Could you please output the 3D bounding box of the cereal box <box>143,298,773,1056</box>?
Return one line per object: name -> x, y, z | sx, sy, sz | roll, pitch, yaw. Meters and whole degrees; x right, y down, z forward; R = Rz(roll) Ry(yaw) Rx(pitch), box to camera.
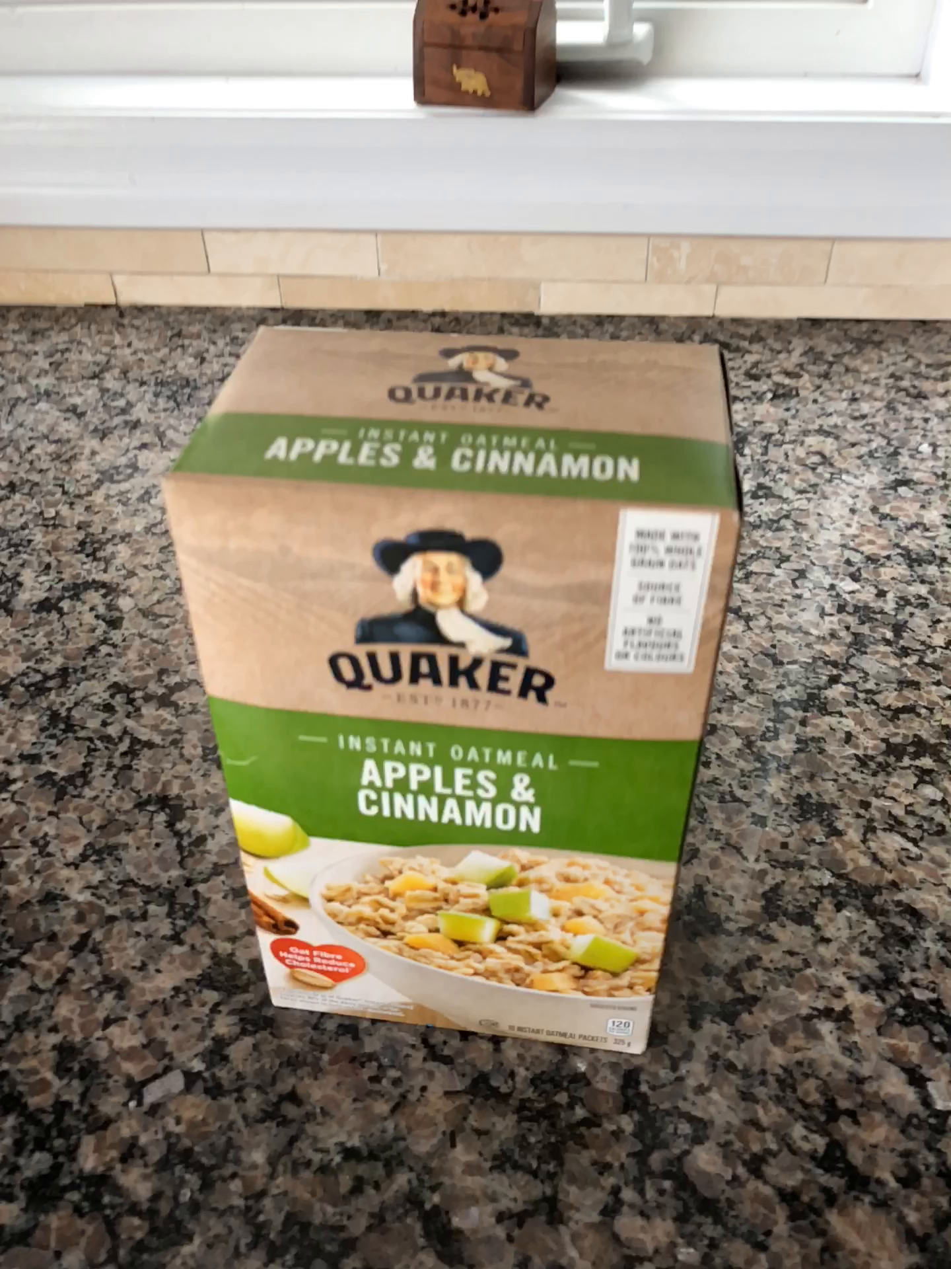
cereal box -> 0.002, 0.022, 0.316 | 0.130, 0.209, 0.090 | 5, 41, 7
